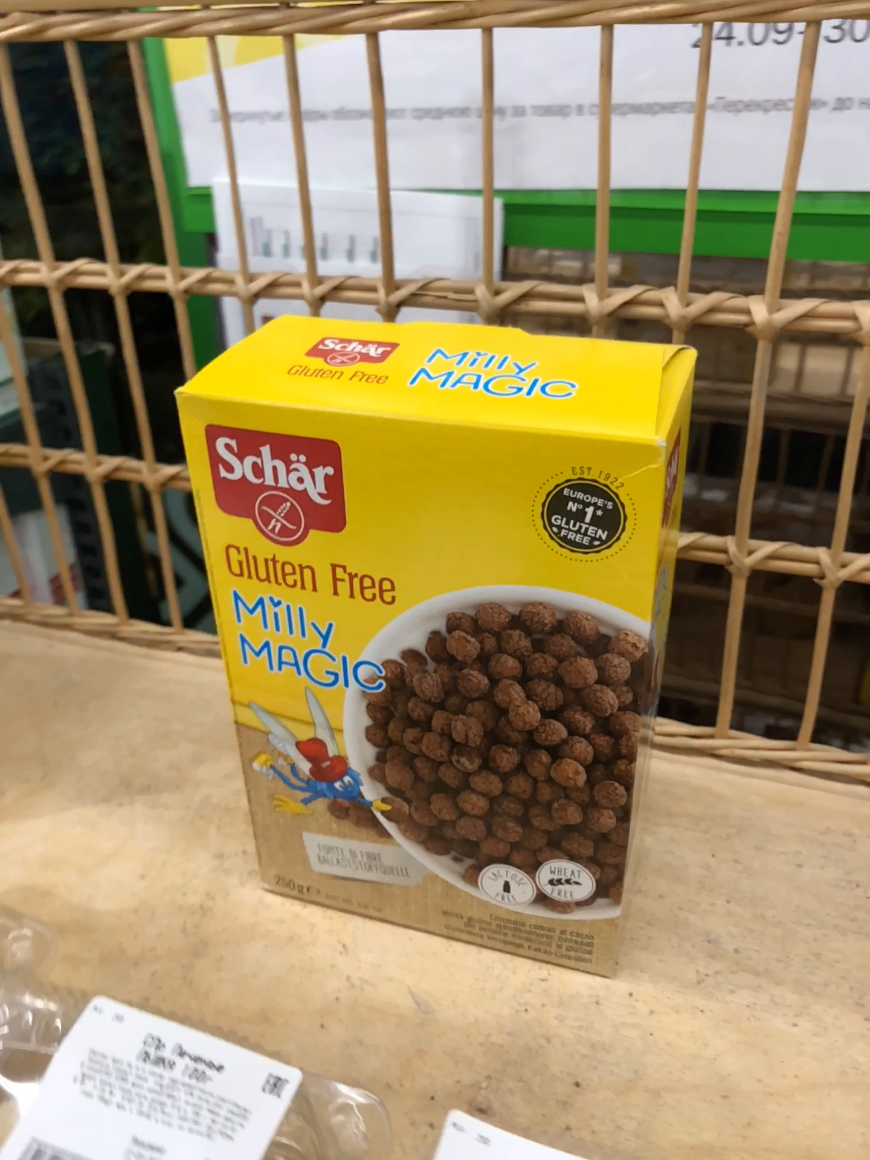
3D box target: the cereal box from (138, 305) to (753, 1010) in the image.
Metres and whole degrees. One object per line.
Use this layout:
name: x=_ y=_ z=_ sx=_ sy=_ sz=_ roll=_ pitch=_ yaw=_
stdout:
cereal box: x=0.009 y=0.026 z=0.333 sx=0.160 sy=0.209 sz=0.080 roll=9 pitch=33 yaw=17
